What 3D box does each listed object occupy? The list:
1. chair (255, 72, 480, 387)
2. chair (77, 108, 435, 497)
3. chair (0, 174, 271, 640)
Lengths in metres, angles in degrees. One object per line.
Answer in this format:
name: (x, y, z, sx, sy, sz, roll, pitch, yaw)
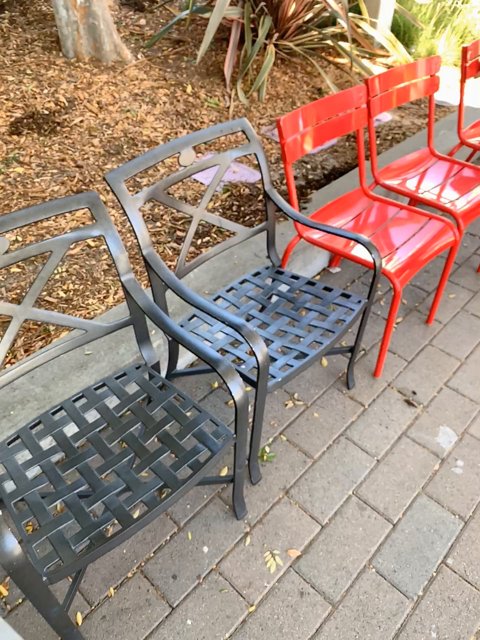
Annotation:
chair: (0.514, -0.358, 1.859, 0.643, 0.815, 0.621, 34, 52, 31)
chair: (0.035, -0.080, 1.557, 0.693, 0.815, 0.621, 34, 52, 31)
chair: (-0.407, 0.237, 1.215, 0.693, 0.815, 0.621, 34, 52, 31)
